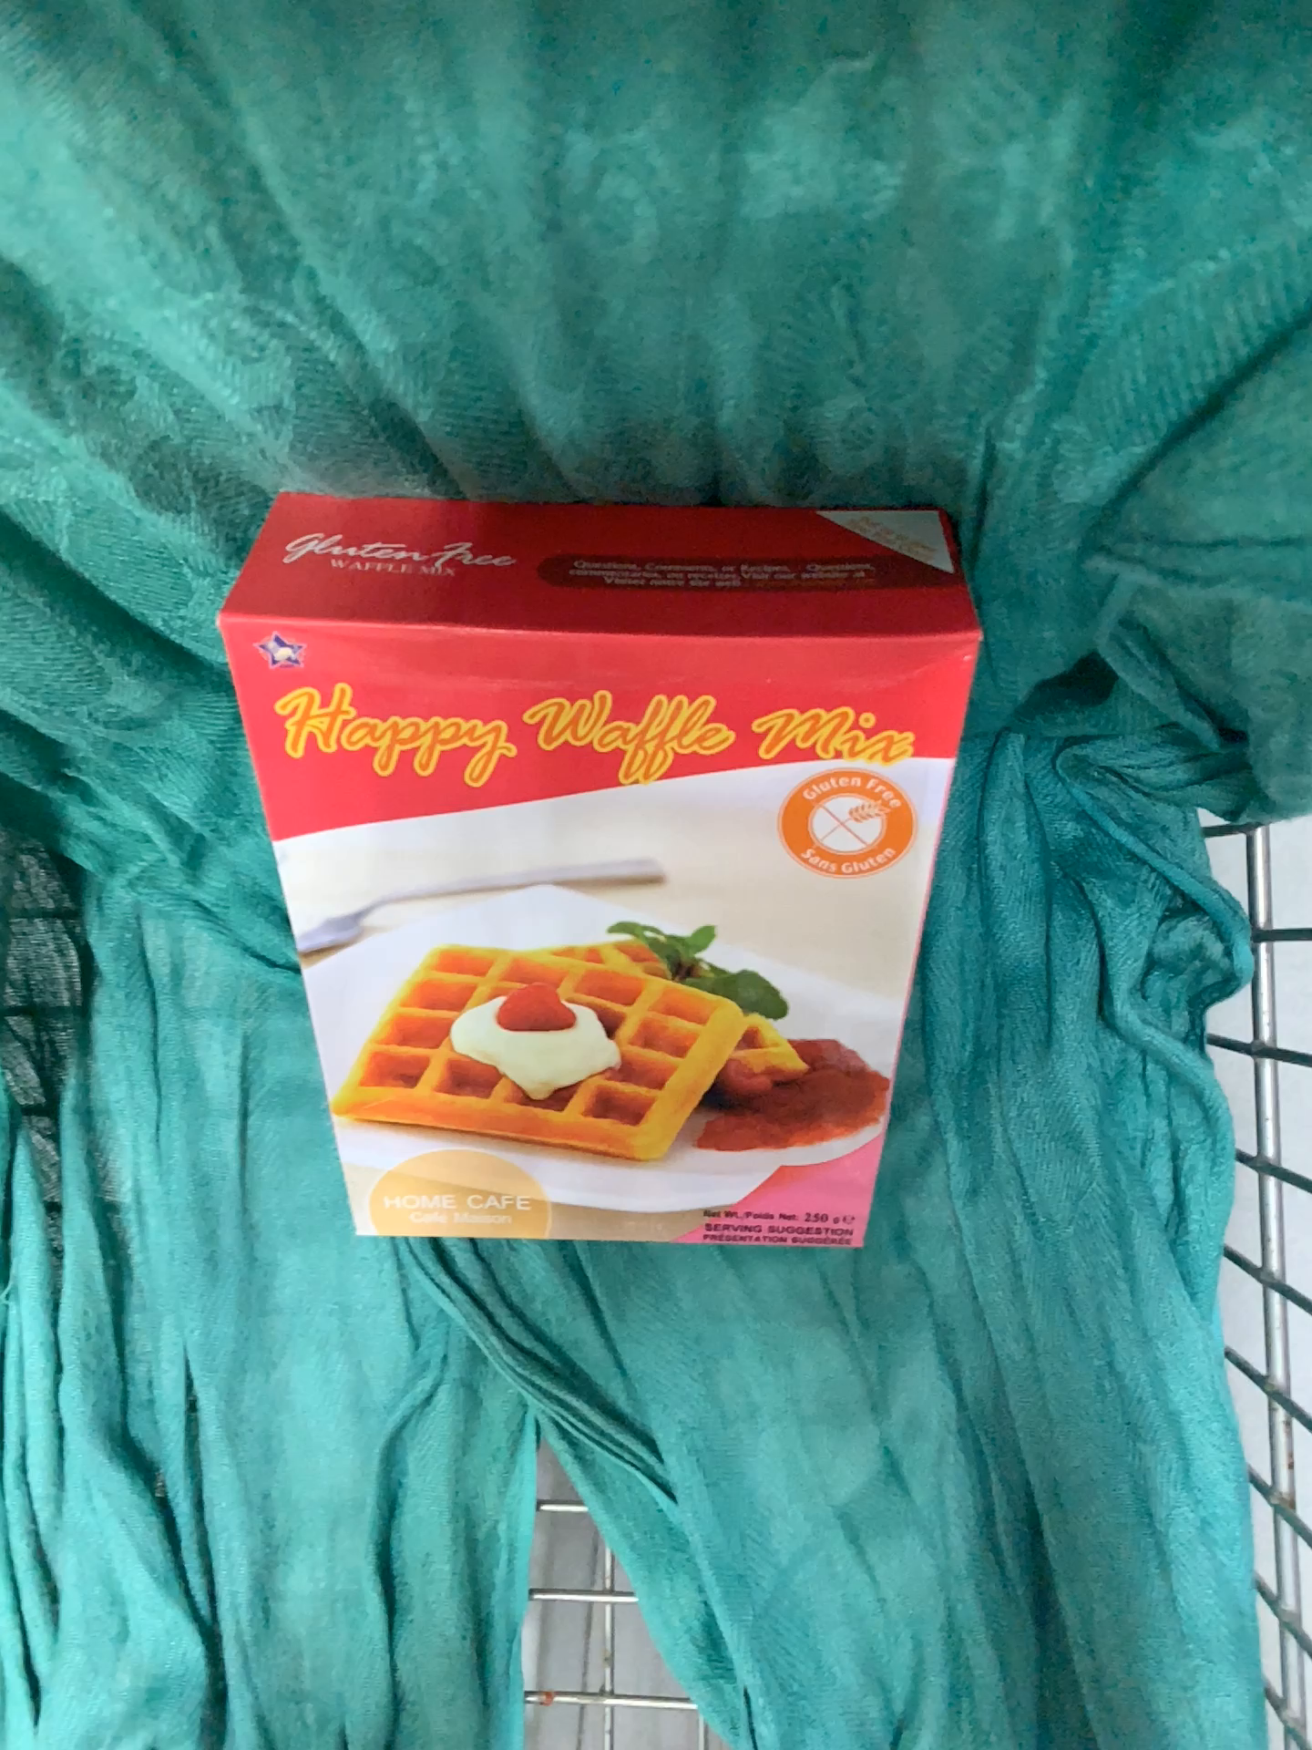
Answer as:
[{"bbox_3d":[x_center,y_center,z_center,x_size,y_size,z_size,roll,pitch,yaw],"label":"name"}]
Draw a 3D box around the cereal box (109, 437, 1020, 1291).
[{"bbox_3d":[-0.013,0.011,0.271,0.130,0.180,0.050,2,43,2],"label":"cereal box"}]
